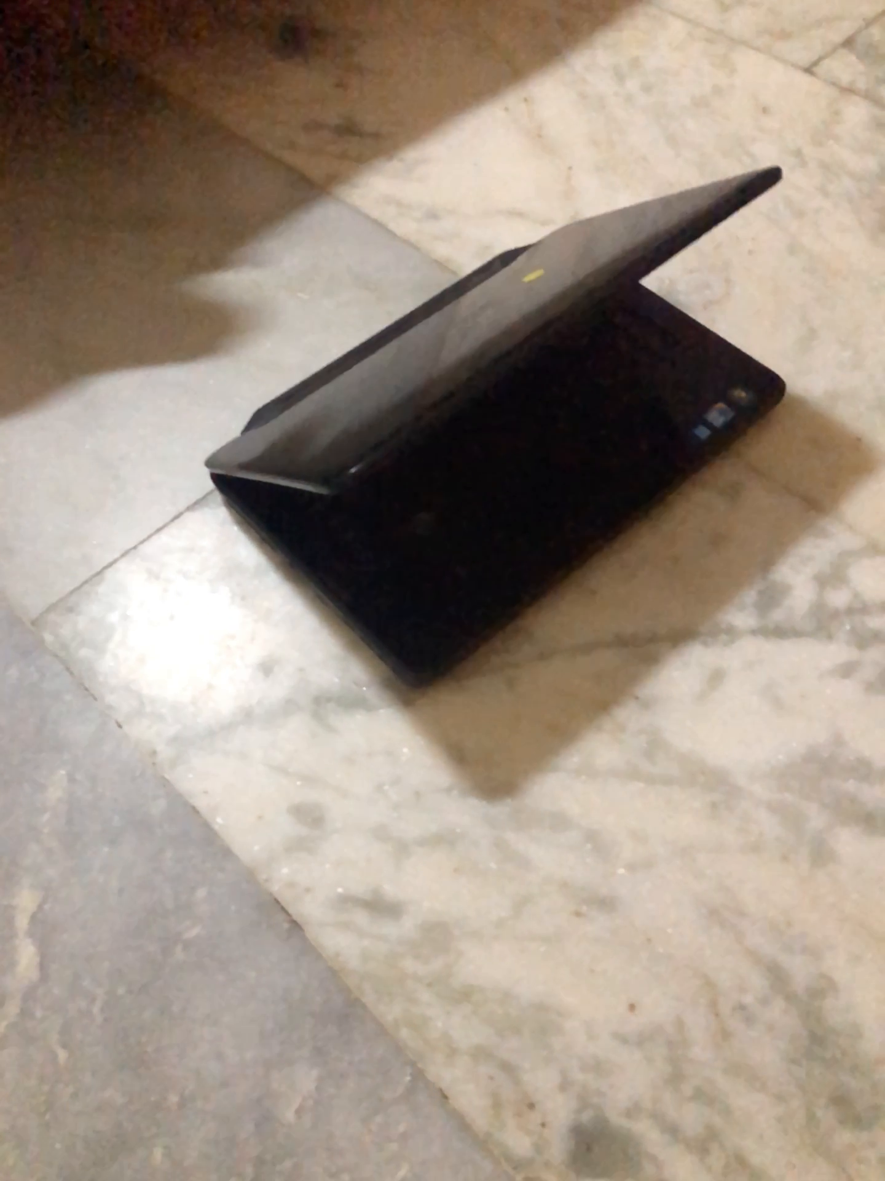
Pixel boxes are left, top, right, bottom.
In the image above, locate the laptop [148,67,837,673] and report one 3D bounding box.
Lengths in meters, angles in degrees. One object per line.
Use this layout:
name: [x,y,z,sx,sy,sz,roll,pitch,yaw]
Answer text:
laptop: [0.038,-0.162,0.650,0.351,0.161,0.234,-38,62,-21]
